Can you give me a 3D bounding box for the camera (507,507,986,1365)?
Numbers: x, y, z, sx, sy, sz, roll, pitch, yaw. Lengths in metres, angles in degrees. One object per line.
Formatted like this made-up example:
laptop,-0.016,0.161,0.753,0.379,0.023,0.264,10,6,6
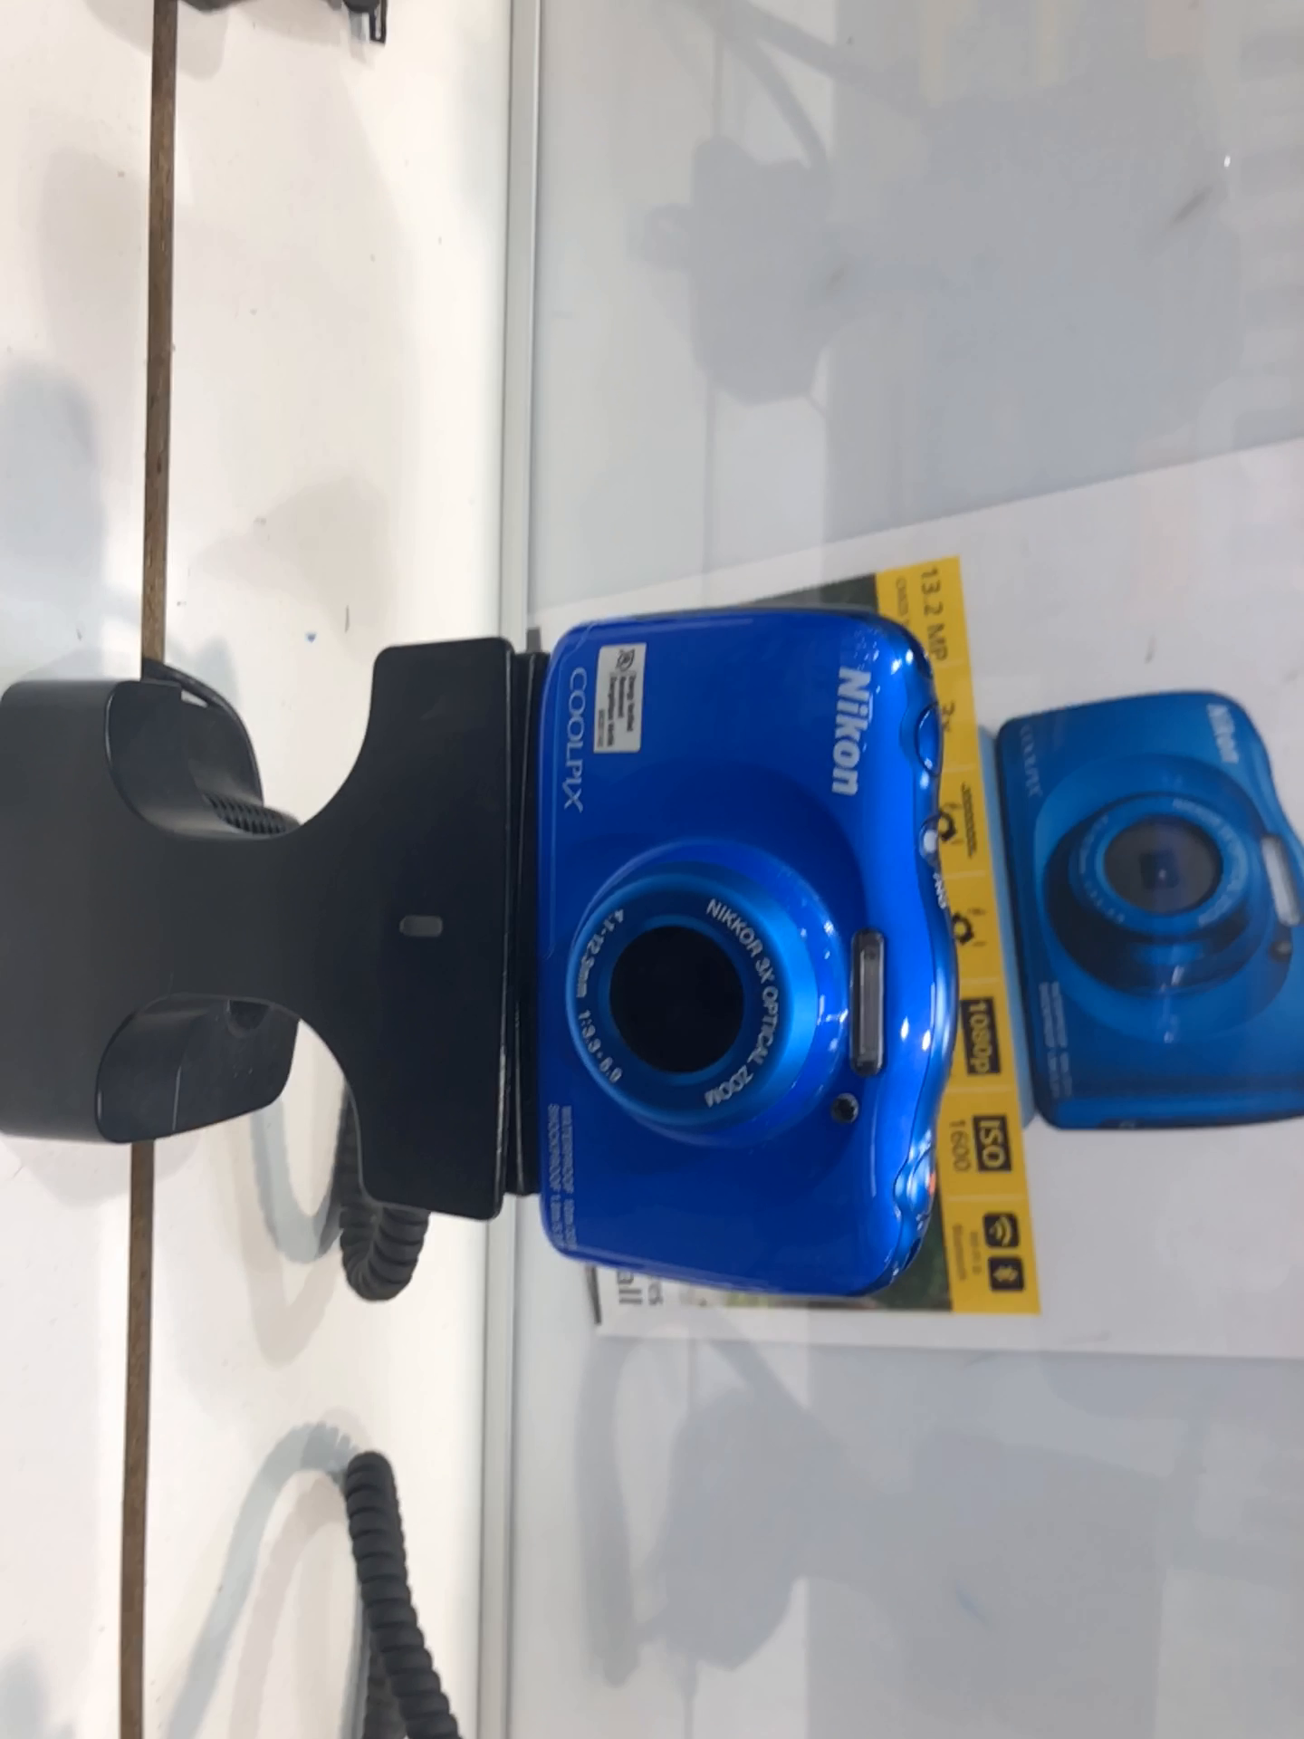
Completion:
camera,0.018,0.010,0.258,0.050,0.070,0.130,0,90,-64
